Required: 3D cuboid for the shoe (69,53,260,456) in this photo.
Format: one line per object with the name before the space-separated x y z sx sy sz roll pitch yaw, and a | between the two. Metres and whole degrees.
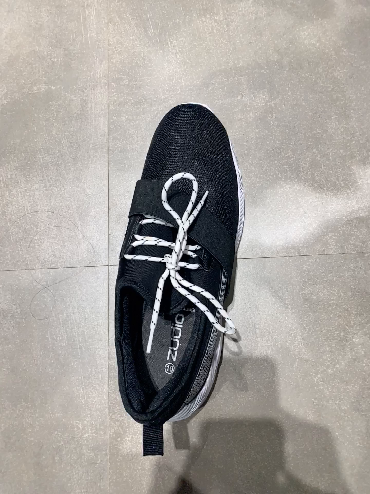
shoe | -0.005 0.001 0.354 0.116 0.132 0.304 5 79 4
